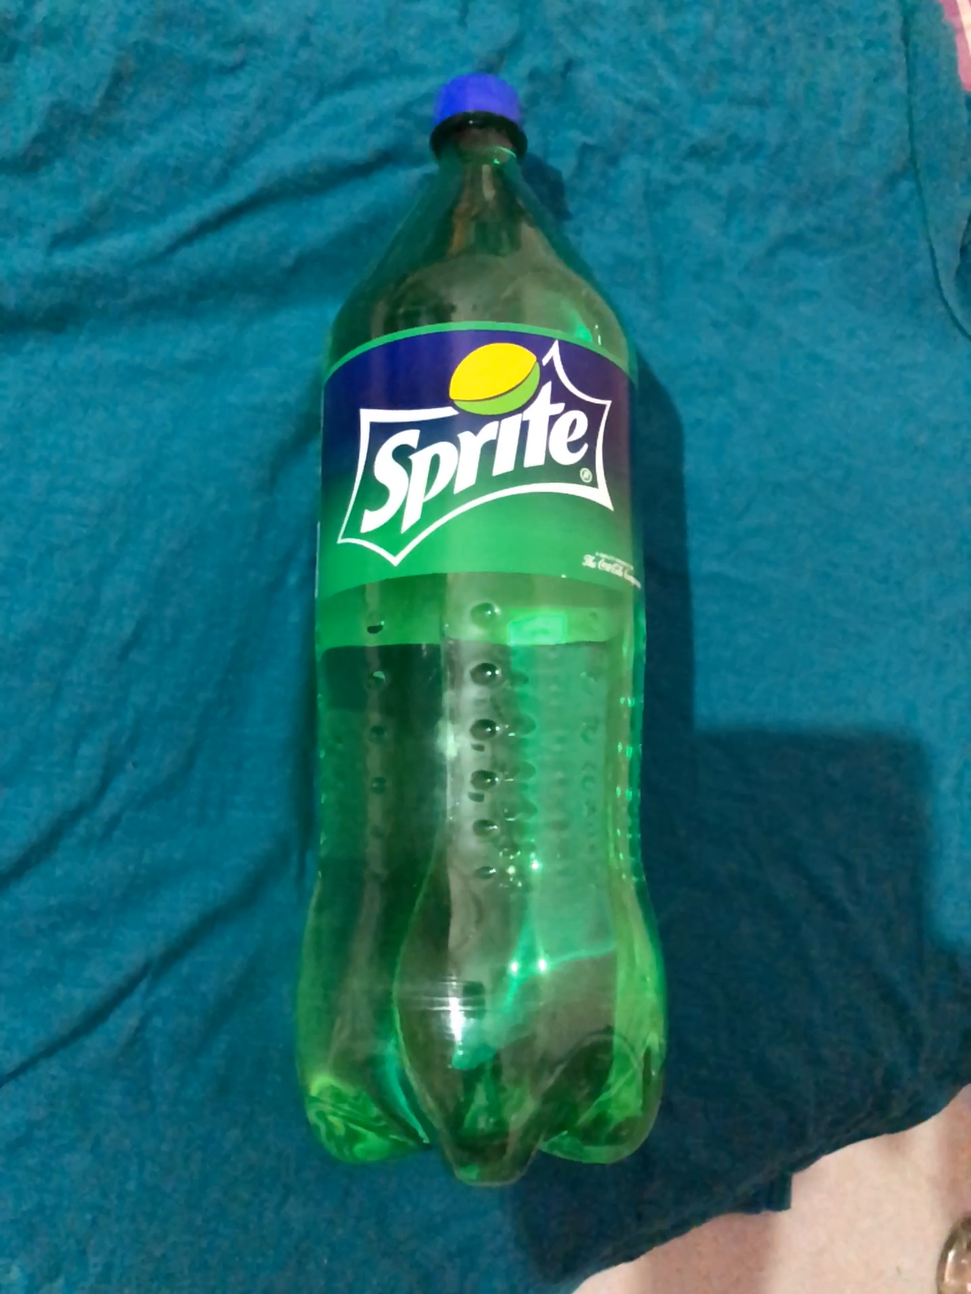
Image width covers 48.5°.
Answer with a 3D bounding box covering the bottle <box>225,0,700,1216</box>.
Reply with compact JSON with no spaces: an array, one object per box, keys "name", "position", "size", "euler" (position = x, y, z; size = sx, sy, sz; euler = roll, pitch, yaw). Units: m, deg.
[{"name":"bottle","position":[-0.007,-0.031,0.308],"size":[0.110,0.070,0.330],"euler":[3,80,-12]}]
